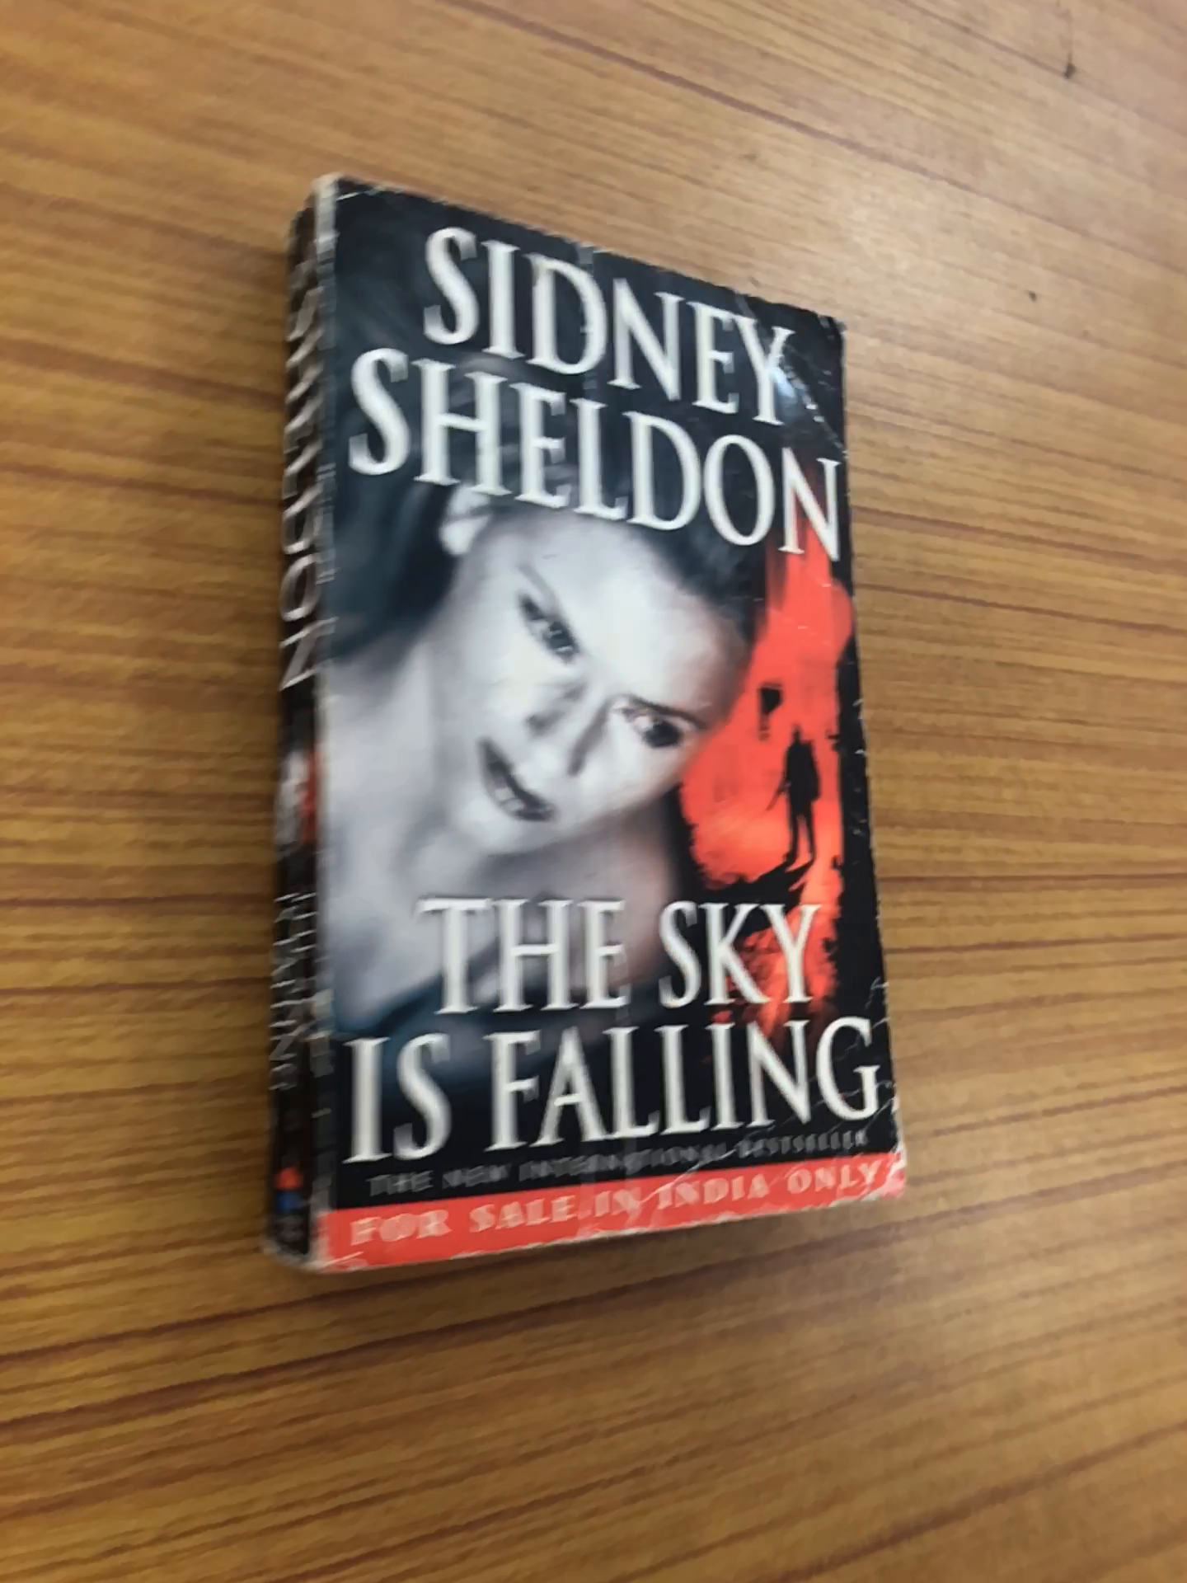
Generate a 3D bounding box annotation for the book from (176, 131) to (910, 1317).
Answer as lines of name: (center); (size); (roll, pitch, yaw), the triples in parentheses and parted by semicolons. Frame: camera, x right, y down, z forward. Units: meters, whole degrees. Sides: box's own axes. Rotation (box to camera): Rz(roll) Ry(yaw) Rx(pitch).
book: (-0.004, -0.009, 0.231); (0.121, 0.030, 0.170); (4, 80, -31)
